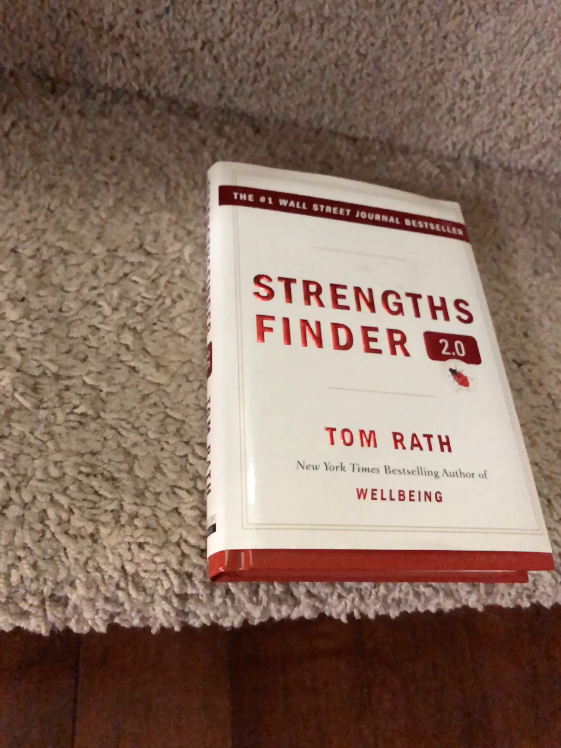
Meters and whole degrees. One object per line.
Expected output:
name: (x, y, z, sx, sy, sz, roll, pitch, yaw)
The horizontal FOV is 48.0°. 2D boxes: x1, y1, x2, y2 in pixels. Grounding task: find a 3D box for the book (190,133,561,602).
book: (0.036, -0.009, 0.261, 0.136, 0.029, 0.190, 7, 59, -15)
